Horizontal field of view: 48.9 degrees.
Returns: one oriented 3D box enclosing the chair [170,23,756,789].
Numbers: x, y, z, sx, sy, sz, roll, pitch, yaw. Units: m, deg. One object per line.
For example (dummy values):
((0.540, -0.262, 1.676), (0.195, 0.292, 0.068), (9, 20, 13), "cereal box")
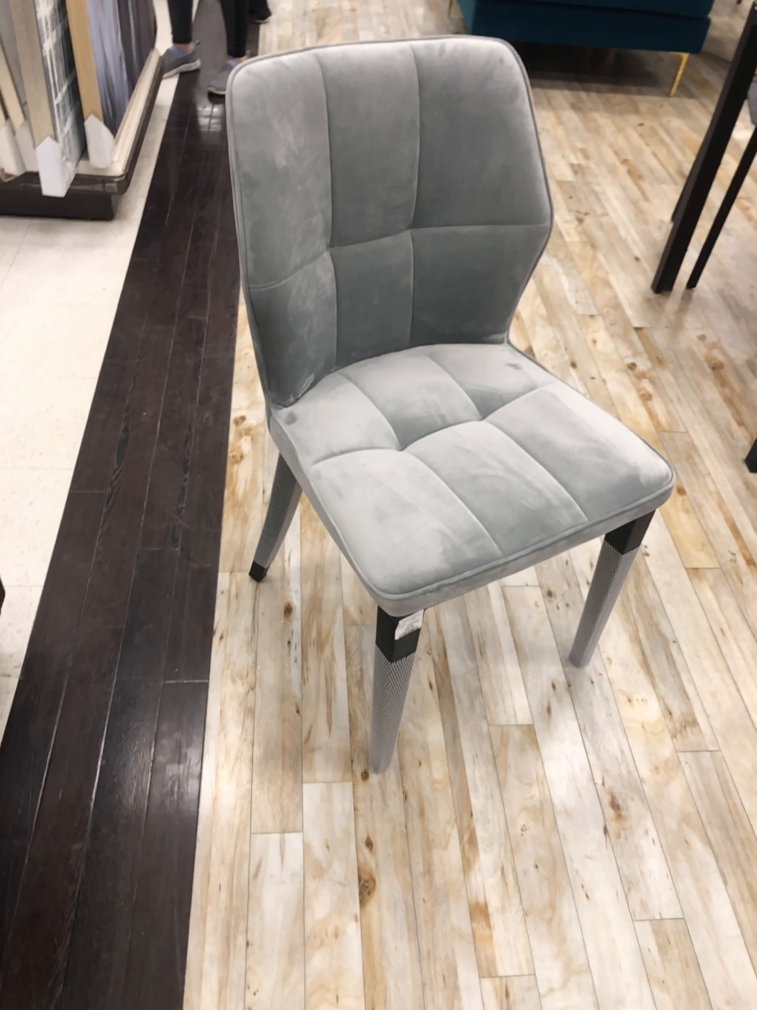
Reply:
((0.089, -0.138, 1.220), (0.531, 0.837, 0.571), (-20, 50, -24), "chair")
